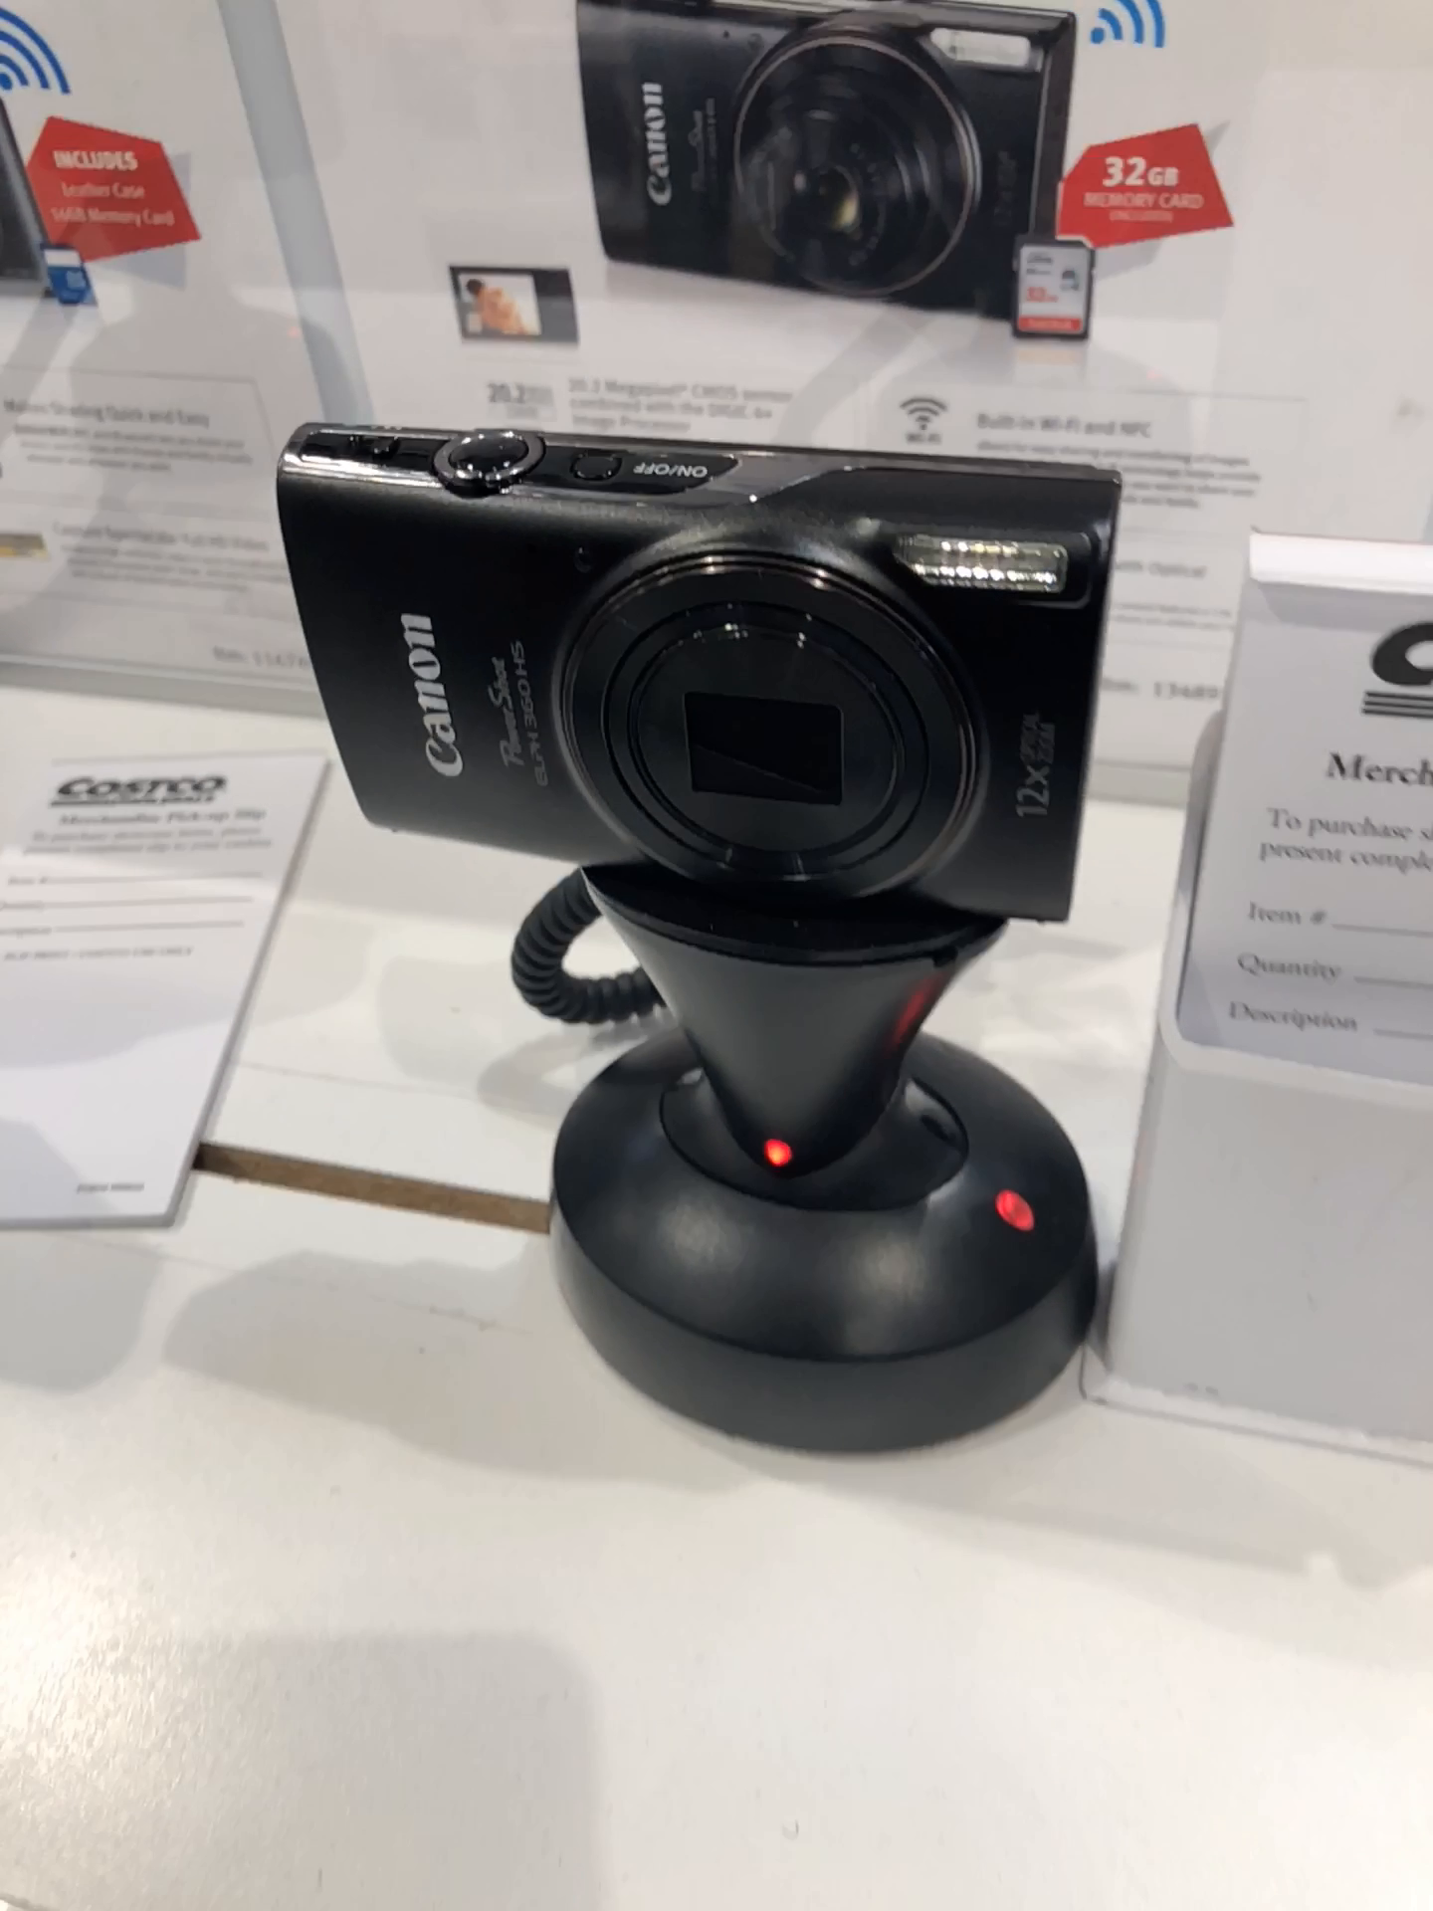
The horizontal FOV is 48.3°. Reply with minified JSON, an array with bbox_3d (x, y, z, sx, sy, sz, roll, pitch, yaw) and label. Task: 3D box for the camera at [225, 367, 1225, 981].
[{"bbox_3d":[0.002,-0.036,0.202,0.110,0.060,0.030,8,45,15],"label":"camera"}]
